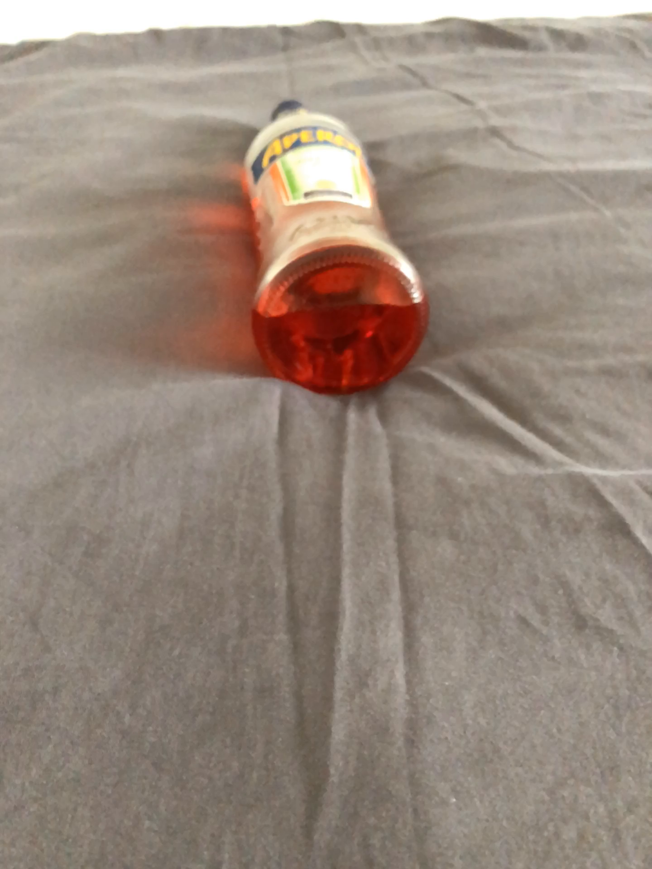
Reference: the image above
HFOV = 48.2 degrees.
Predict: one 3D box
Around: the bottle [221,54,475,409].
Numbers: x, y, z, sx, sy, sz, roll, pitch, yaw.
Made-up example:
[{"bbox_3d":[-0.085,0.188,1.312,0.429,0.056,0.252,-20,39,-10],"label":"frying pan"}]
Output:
[{"bbox_3d":[-0.005,-0.145,0.430,0.100,0.070,0.322,-4,40,-3],"label":"bottle"}]
